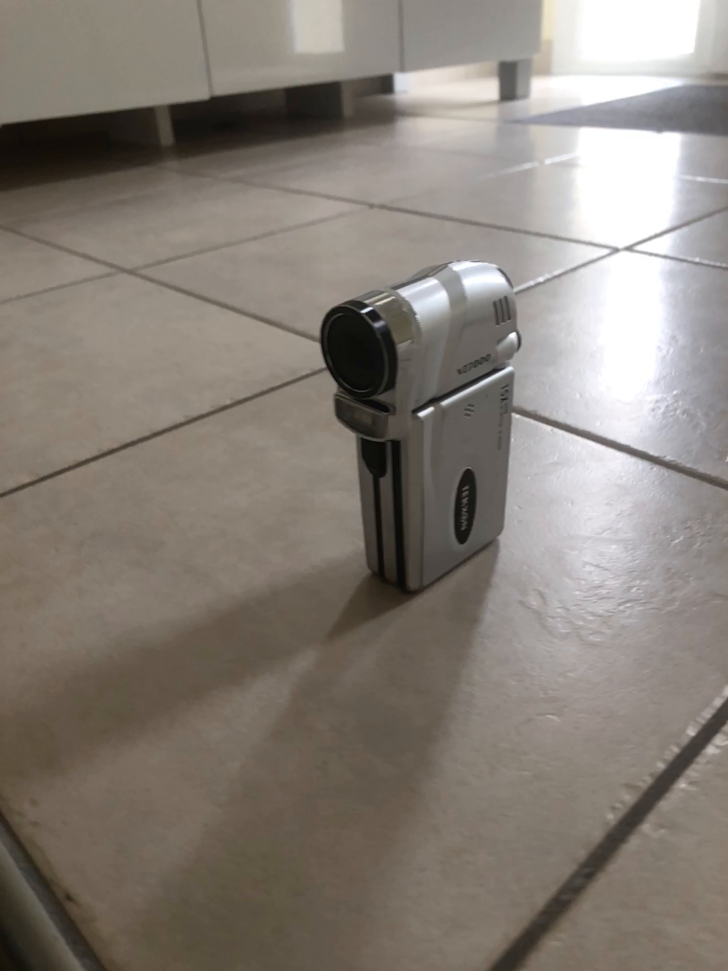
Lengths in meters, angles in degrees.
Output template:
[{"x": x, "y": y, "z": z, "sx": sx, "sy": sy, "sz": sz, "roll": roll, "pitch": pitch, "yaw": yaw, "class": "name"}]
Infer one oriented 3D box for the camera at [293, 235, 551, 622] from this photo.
[{"x": 0.024, "y": -0.022, "z": 0.287, "sx": 0.040, "sy": 0.109, "sz": 0.080, "roll": 24, "pitch": 40, "yaw": 39, "class": "camera"}]
